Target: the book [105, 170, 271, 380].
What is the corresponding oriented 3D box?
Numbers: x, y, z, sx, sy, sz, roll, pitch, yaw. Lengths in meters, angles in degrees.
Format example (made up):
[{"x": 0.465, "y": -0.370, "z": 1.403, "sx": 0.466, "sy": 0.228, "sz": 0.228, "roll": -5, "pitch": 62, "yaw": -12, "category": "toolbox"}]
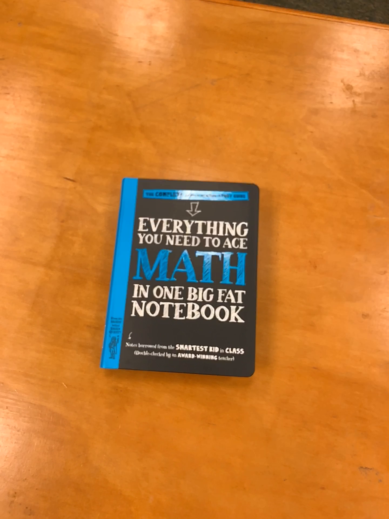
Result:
[{"x": -0.003, "y": 0.016, "z": 0.442, "sx": 0.157, "sy": 0.050, "sz": 0.208, "roll": 4, "pitch": 80, "yaw": 0, "category": "book"}]
